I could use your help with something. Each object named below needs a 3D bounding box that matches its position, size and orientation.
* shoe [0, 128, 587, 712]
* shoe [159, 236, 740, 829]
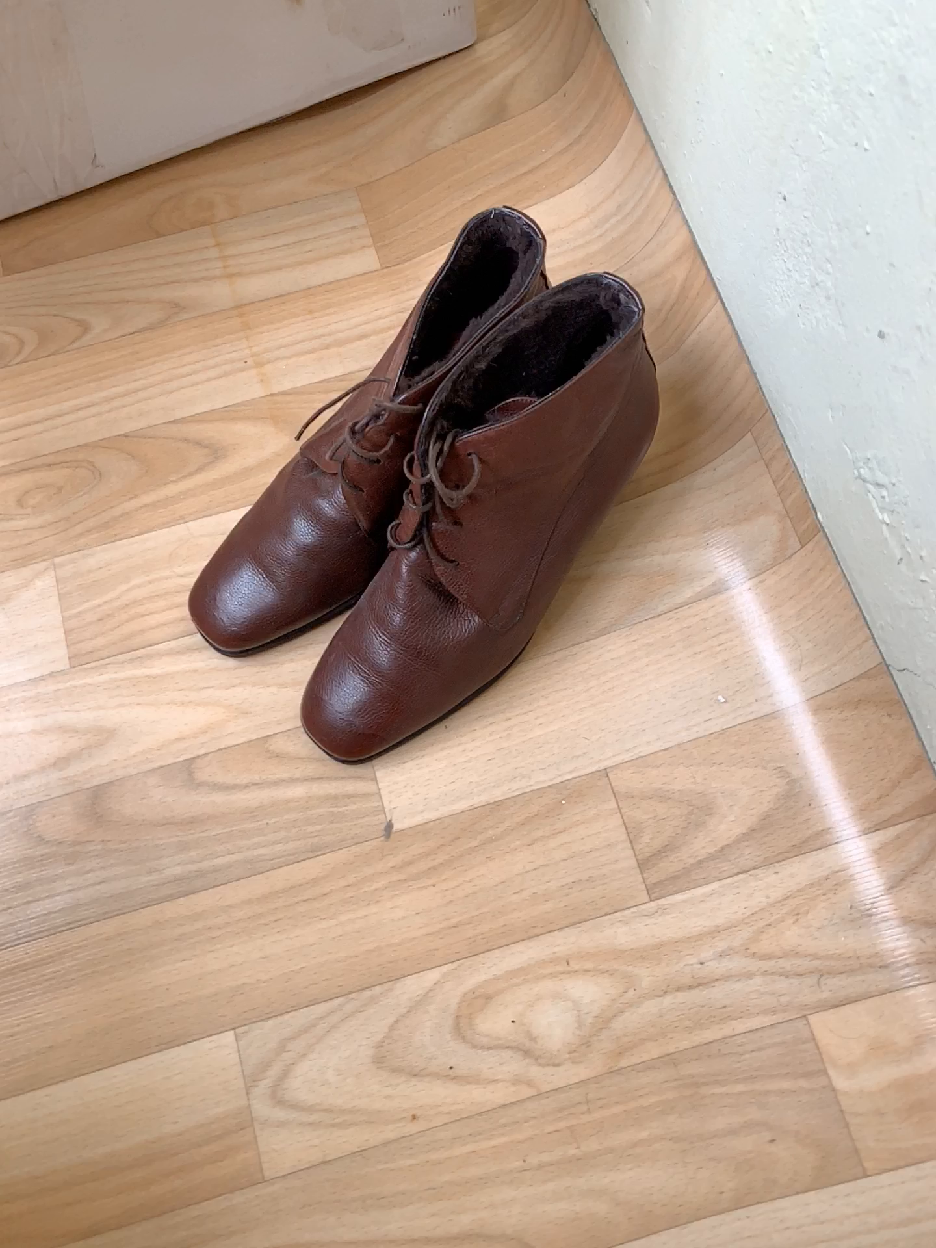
[{"bbox_3d":[-0.058,-0.078,0.430,0.220,0.150,0.080,-40,73,-9],"label":"shoe"},{"bbox_3d":[0.002,-0.027,0.419,0.080,0.150,0.220,43,80,16],"label":"shoe"}]
